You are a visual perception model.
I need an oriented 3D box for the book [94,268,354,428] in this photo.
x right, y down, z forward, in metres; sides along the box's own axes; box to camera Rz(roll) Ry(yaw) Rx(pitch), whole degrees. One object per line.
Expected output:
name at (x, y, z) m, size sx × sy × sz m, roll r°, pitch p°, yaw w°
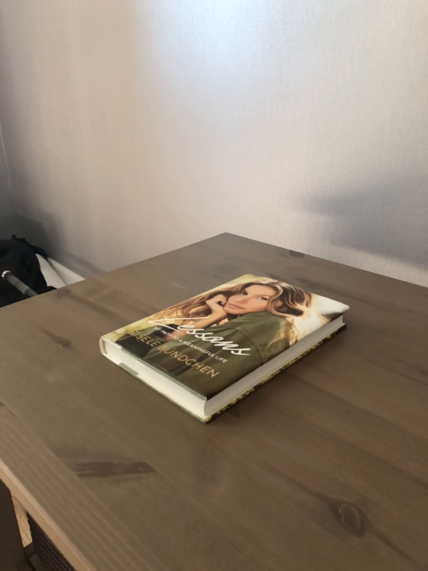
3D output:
book at (0.017, 0.046, 0.502) m, size 0.160 × 0.030 × 0.228 m, roll 21°, pitch 31°, yaw 39°
